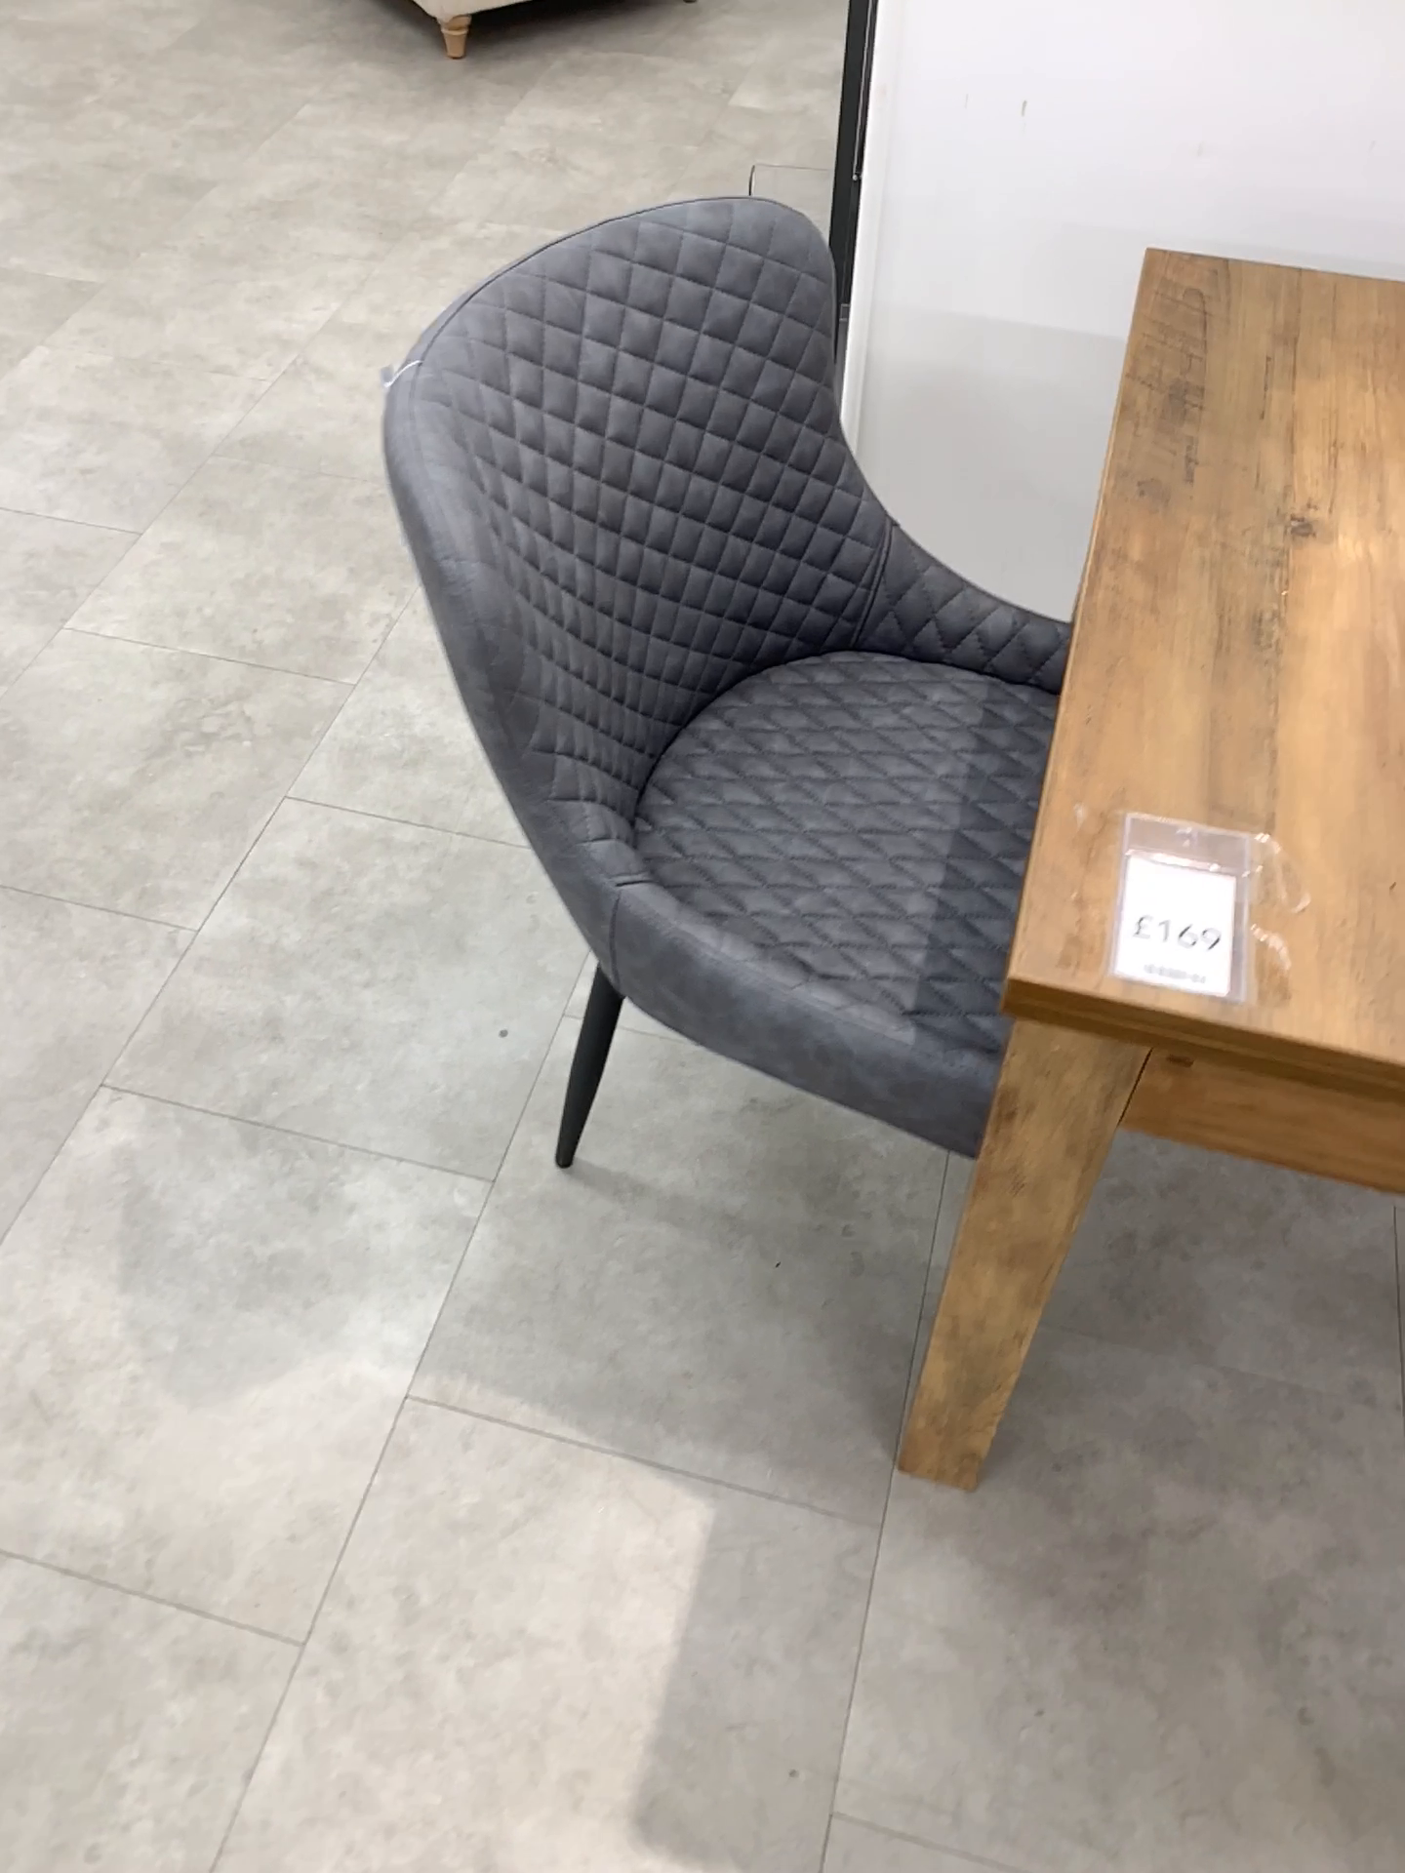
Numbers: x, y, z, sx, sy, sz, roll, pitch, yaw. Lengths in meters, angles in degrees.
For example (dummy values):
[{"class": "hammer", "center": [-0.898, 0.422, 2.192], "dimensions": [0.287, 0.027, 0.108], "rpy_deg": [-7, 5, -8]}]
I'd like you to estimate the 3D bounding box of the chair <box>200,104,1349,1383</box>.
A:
[{"class": "chair", "center": [0.074, -0.129, 1.191], "dimensions": [0.551, 0.776, 0.531], "rpy_deg": [21, 53, 16]}]
